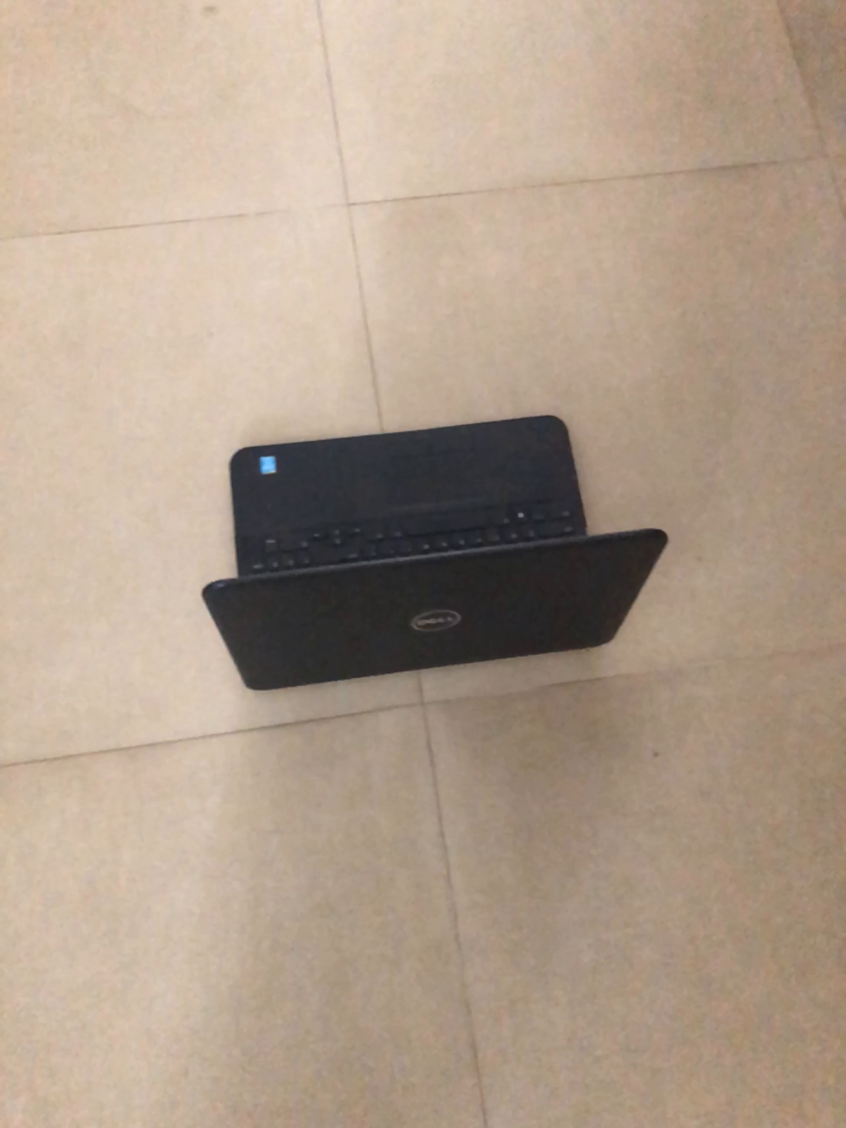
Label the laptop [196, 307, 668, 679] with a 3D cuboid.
[{"bbox_3d":[-0.004,-0.055,0.862,0.351,0.227,0.248,-7,73,-4],"label":"laptop"}]
